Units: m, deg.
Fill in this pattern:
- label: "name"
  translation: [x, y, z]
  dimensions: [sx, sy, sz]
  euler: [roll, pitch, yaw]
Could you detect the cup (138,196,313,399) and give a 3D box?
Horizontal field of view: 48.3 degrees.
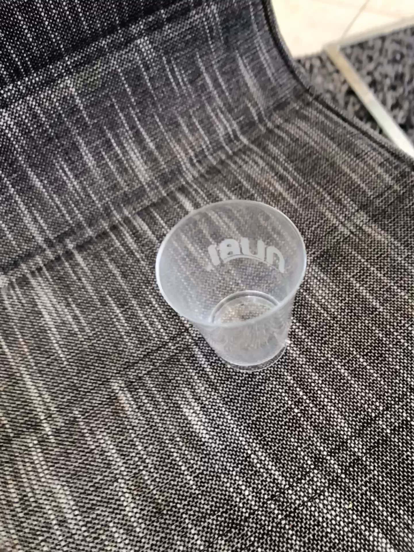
- label: "cup"
  translation: [0.021, 0.016, 0.291]
  dimensions: [0.080, 0.100, 0.080]
  euler: [-6, 57, 9]
